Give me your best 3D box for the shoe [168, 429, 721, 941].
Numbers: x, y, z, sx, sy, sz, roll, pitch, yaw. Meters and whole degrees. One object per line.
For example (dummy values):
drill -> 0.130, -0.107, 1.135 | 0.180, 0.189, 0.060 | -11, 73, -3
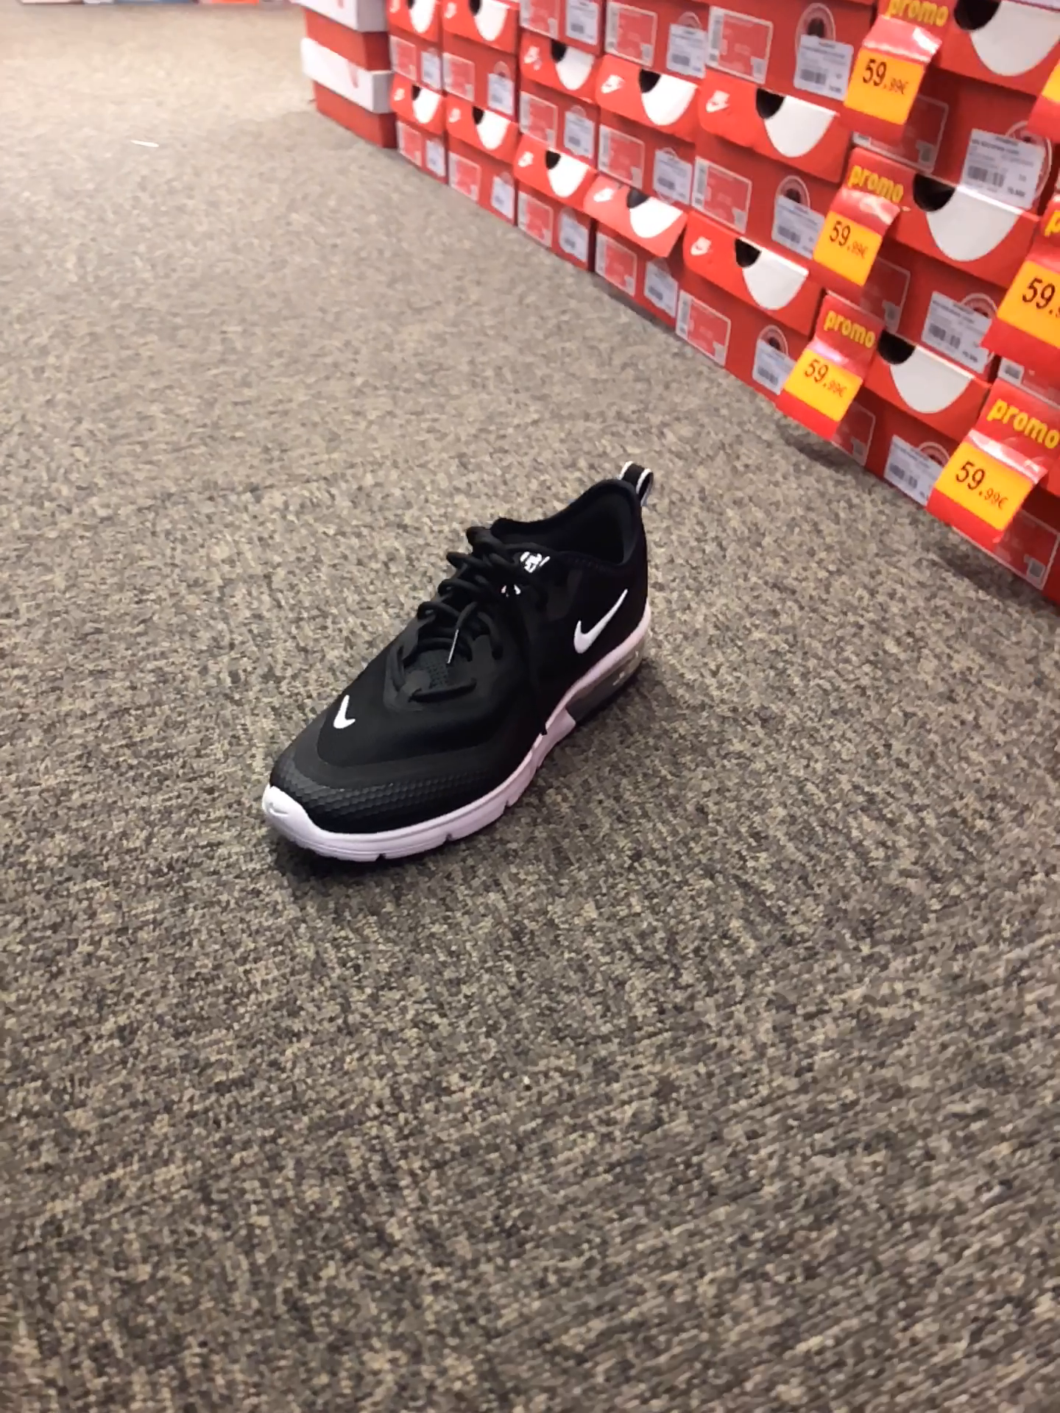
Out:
shoe -> -0.027, -0.025, 0.559 | 0.100, 0.109, 0.258 | 28, 46, 30
